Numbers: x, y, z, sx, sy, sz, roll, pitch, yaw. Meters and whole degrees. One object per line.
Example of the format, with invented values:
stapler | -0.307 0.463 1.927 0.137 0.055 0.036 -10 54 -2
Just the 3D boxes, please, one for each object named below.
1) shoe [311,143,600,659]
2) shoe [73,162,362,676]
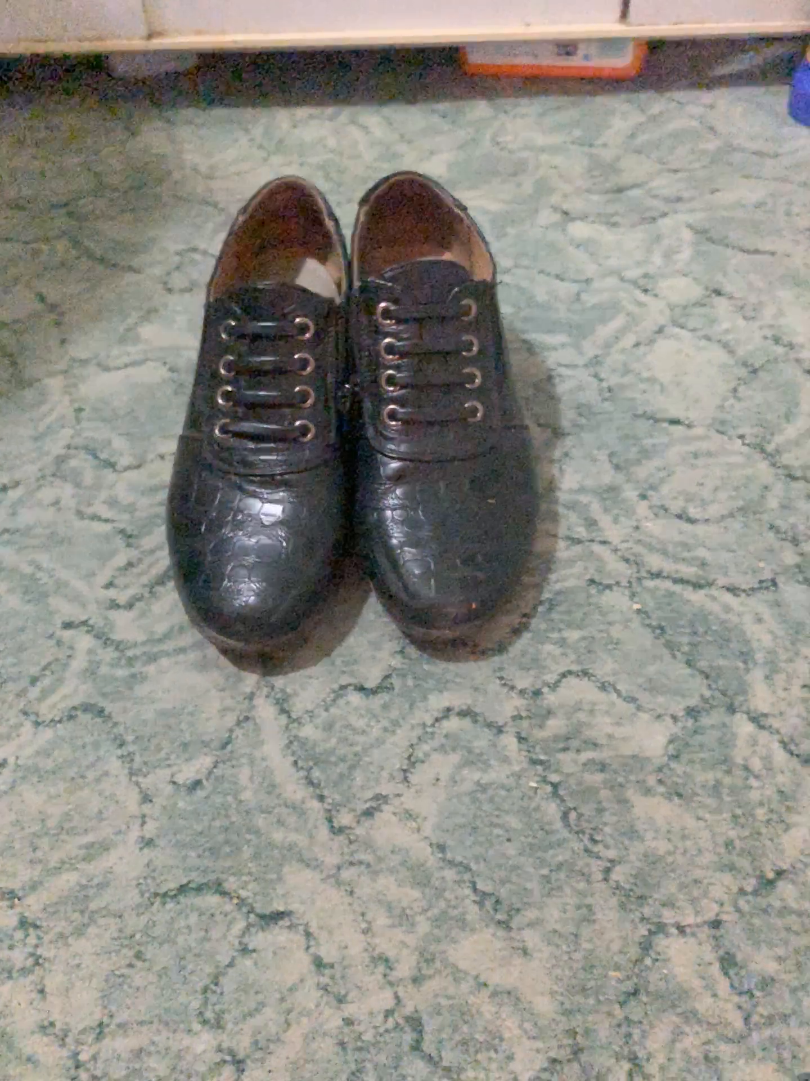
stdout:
shoe | 0.011 -0.071 0.390 0.090 0.119 0.211 -5 51 -2
shoe | -0.069 -0.065 0.399 0.090 0.119 0.222 -2 51 0
